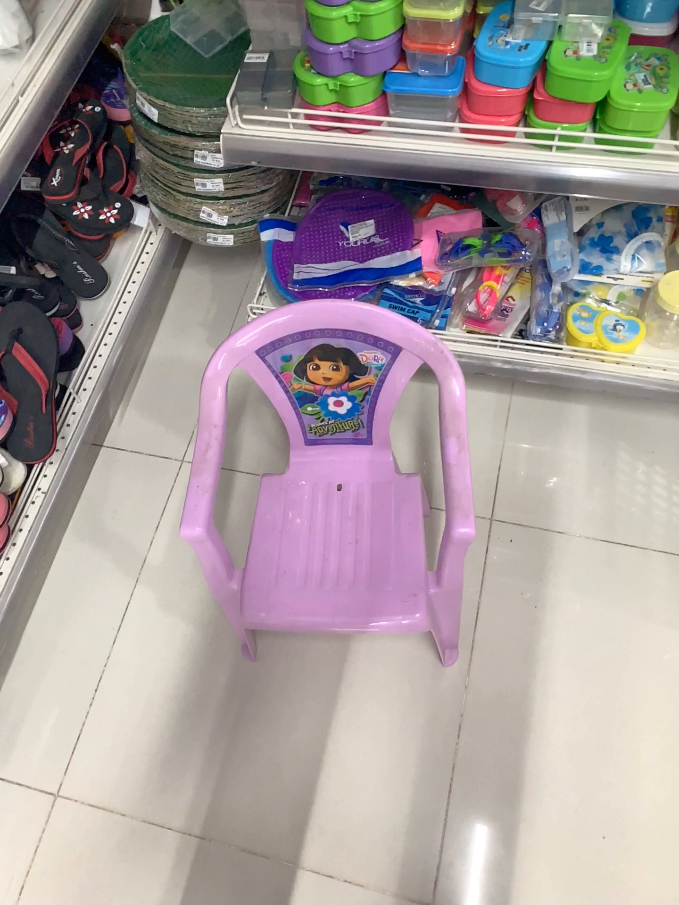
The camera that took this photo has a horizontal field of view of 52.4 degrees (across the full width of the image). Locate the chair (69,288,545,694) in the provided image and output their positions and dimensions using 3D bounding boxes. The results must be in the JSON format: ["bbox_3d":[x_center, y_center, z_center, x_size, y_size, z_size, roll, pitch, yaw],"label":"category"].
[{"bbox_3d":[-0.007,0.081,0.839,0.400,0.429,0.340,0,64,6],"label":"chair"}]
